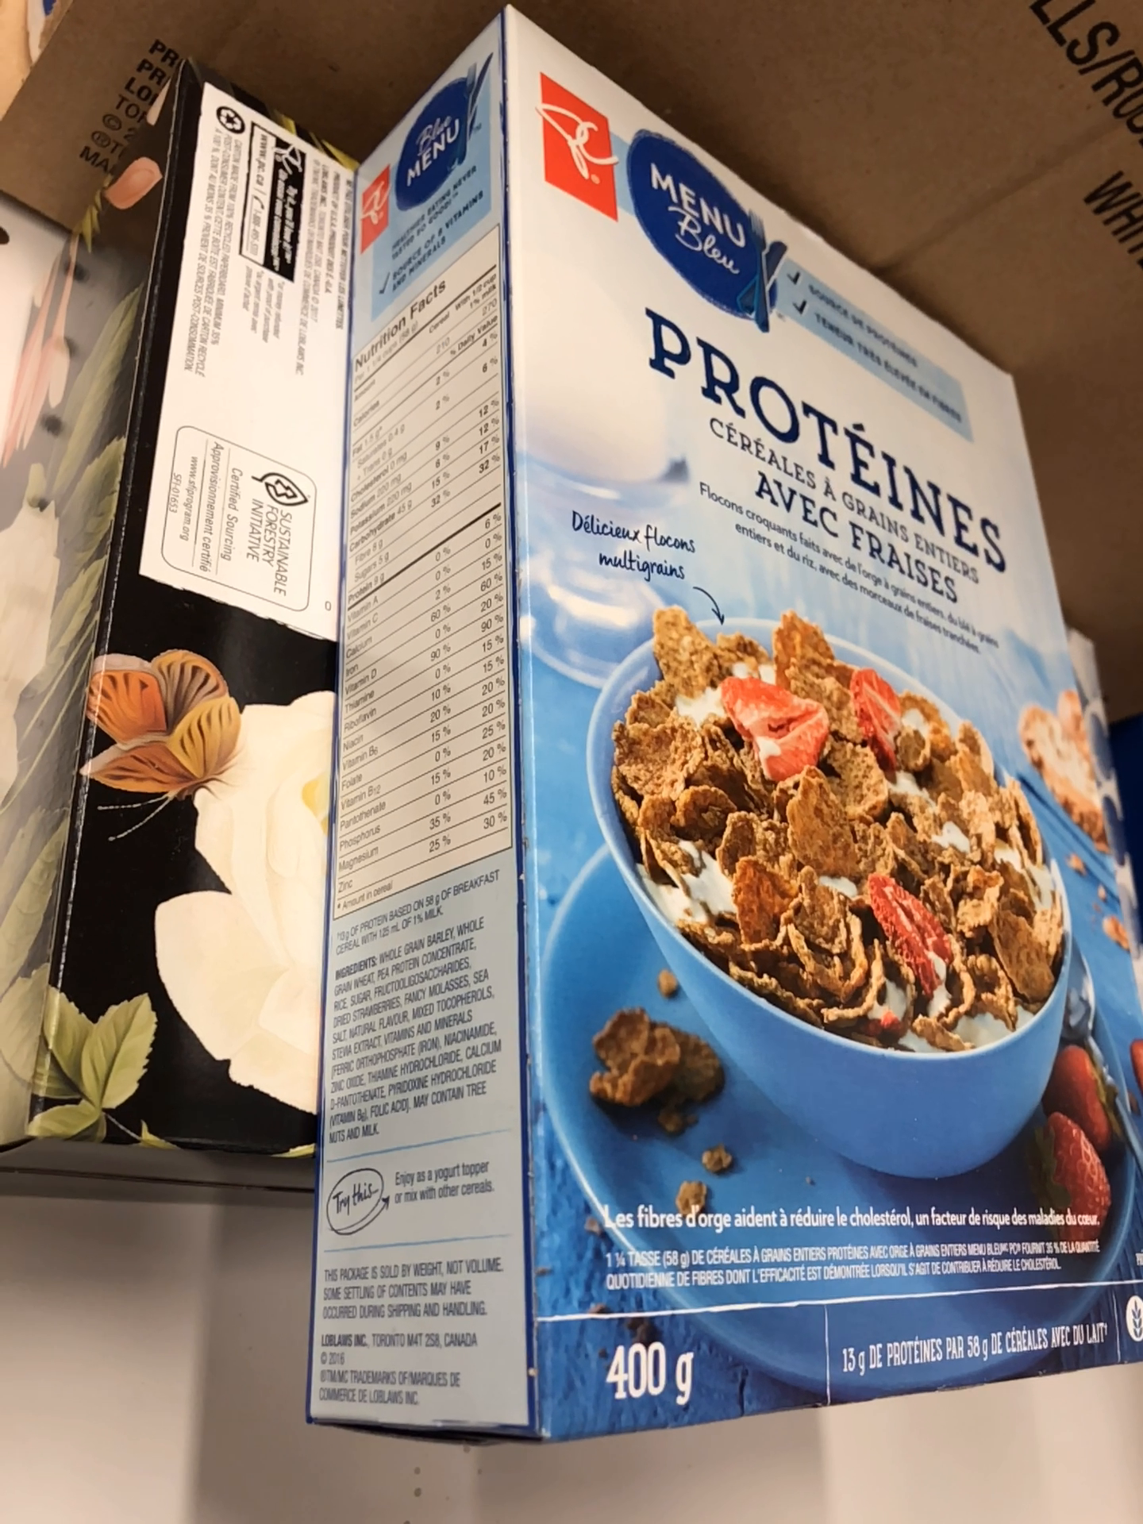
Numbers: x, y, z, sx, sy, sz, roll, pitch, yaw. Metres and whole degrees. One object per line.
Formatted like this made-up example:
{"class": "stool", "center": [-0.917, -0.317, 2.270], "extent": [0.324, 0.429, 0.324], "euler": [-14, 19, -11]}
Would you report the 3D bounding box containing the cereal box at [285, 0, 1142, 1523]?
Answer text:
{"class": "cereal box", "center": [0.047, -0.001, 0.252], "extent": [0.191, 0.050, 0.250], "euler": [15, 61, -37]}
